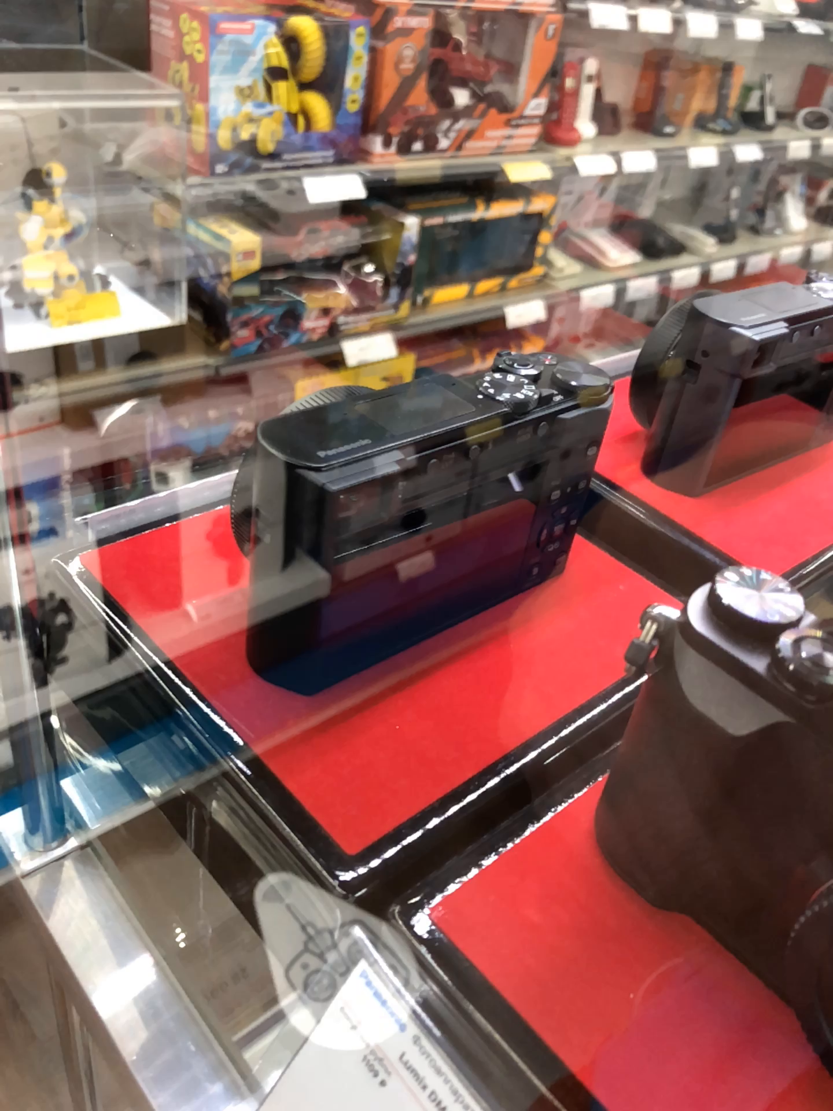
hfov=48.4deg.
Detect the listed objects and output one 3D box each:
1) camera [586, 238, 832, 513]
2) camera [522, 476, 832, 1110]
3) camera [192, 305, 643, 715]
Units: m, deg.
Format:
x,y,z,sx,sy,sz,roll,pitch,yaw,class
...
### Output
x,y,z,sx,sy,sz,roll,pitch,yaw,class
0.135,-0.076,0.373,0.114,0.076,0.055,-20,44,-35,camera
0.082,0.048,0.170,0.054,0.076,0.102,-22,46,-37,camera
0.000,-0.019,0.256,0.110,0.070,0.052,-22,46,-37,camera
